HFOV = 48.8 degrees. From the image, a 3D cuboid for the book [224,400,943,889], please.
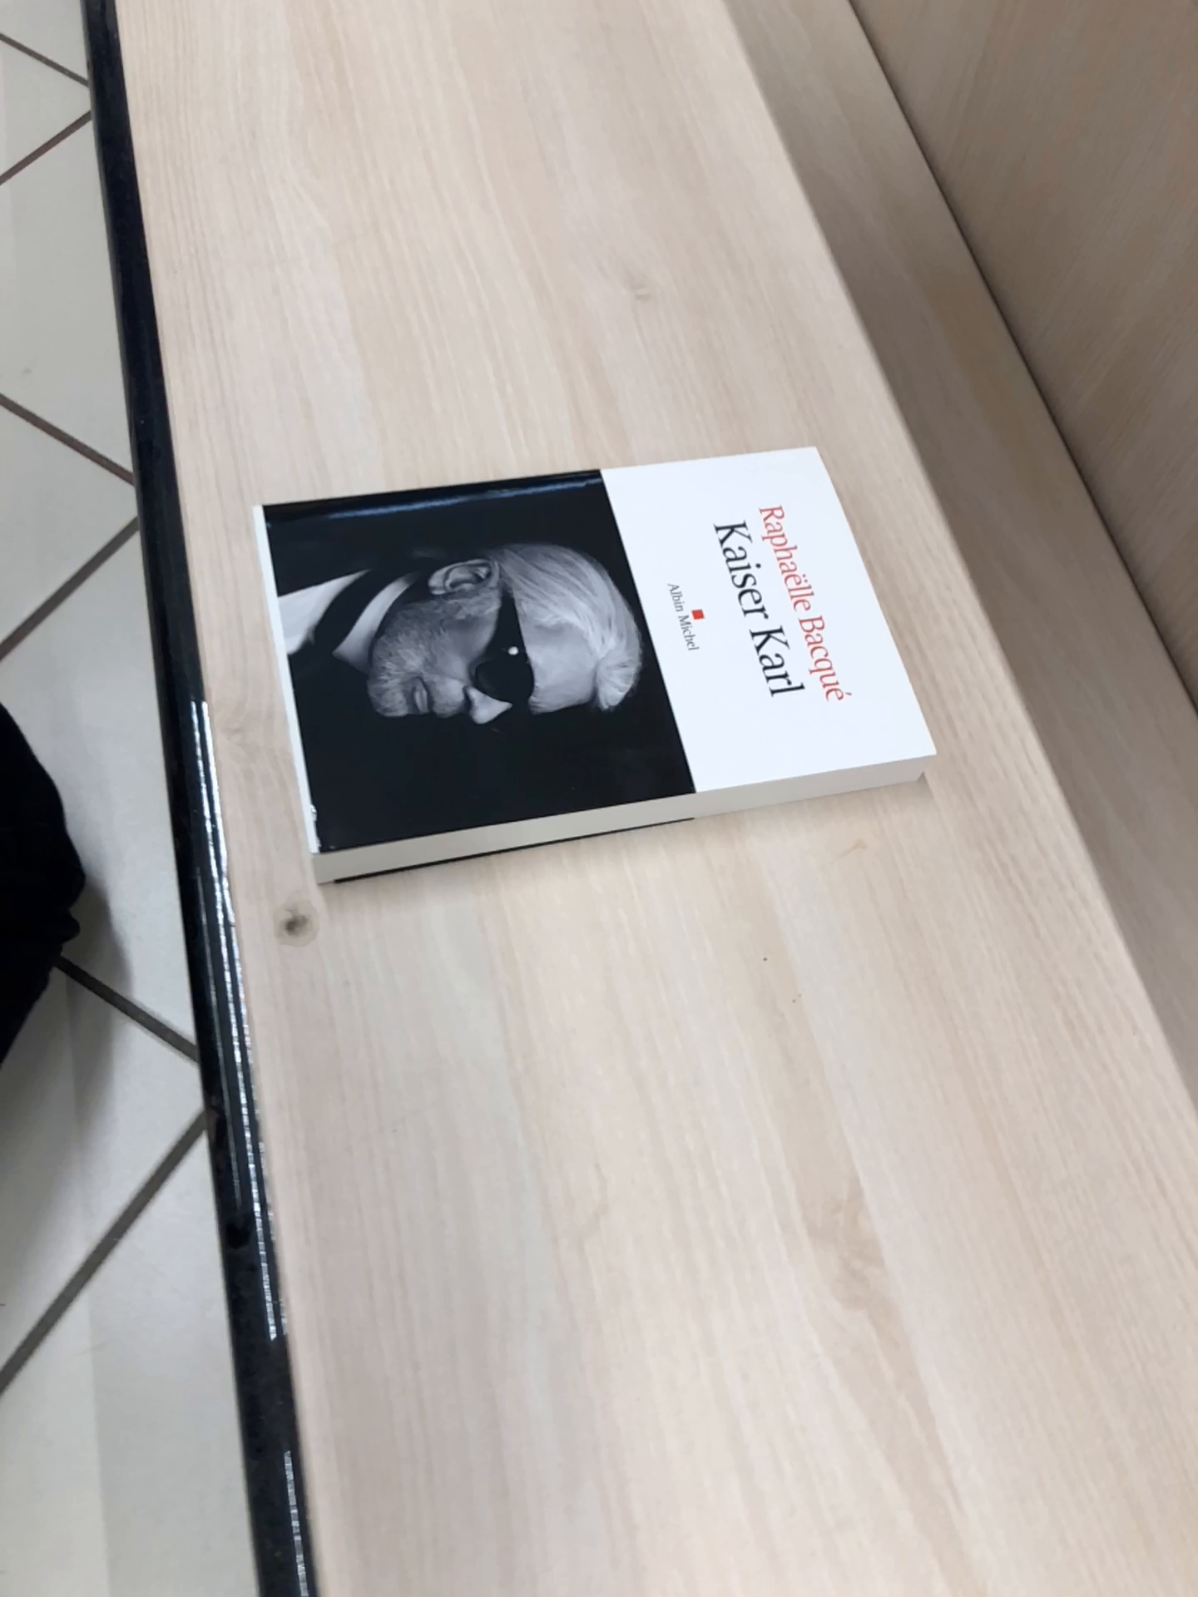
[{"bbox_3d":[-0.008,-0.062,0.468,0.220,0.030,0.150,-10,67,-14],"label":"book"}]
